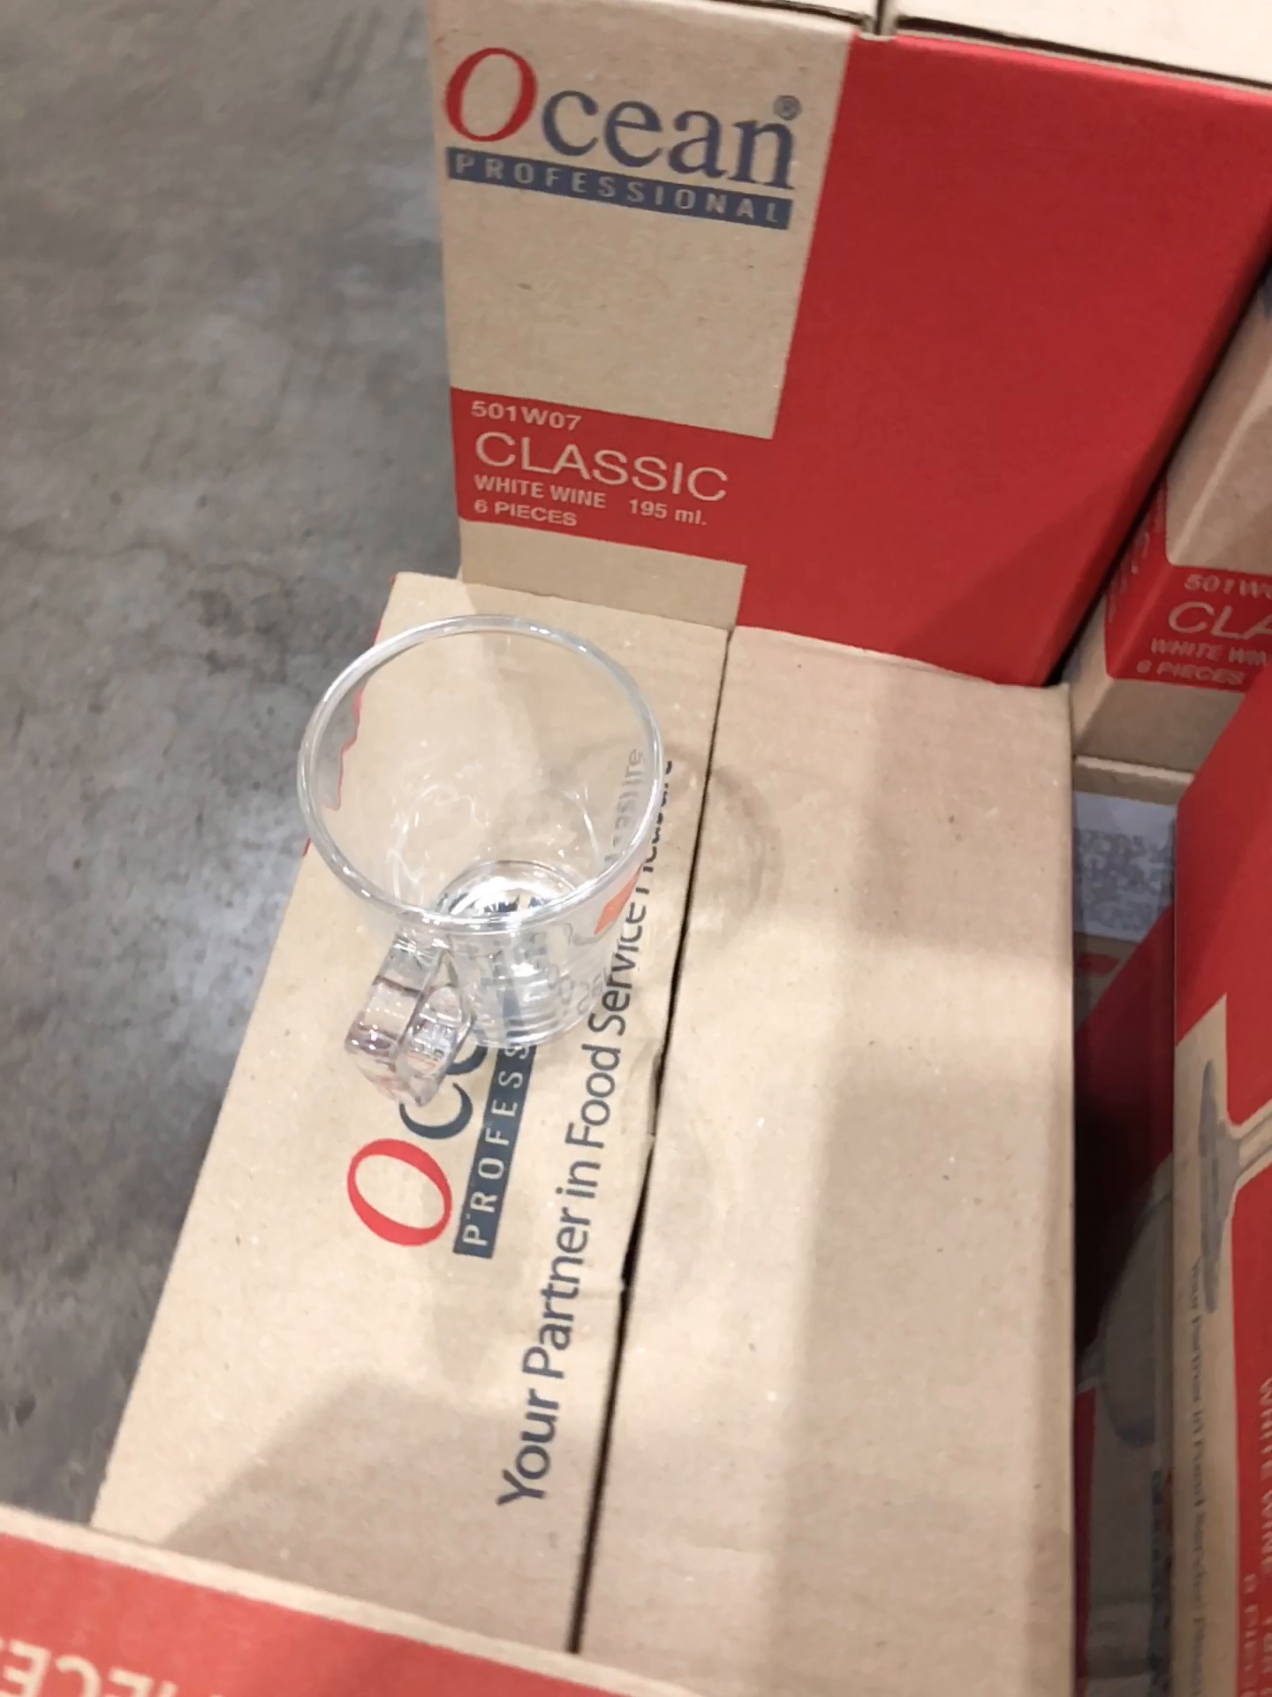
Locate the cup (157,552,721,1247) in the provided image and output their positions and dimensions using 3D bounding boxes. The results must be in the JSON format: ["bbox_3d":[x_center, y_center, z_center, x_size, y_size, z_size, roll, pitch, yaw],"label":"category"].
[{"bbox_3d":[-0.029,0.014,0.253,0.060,0.100,0.070,18,60,8],"label":"cup"}]
